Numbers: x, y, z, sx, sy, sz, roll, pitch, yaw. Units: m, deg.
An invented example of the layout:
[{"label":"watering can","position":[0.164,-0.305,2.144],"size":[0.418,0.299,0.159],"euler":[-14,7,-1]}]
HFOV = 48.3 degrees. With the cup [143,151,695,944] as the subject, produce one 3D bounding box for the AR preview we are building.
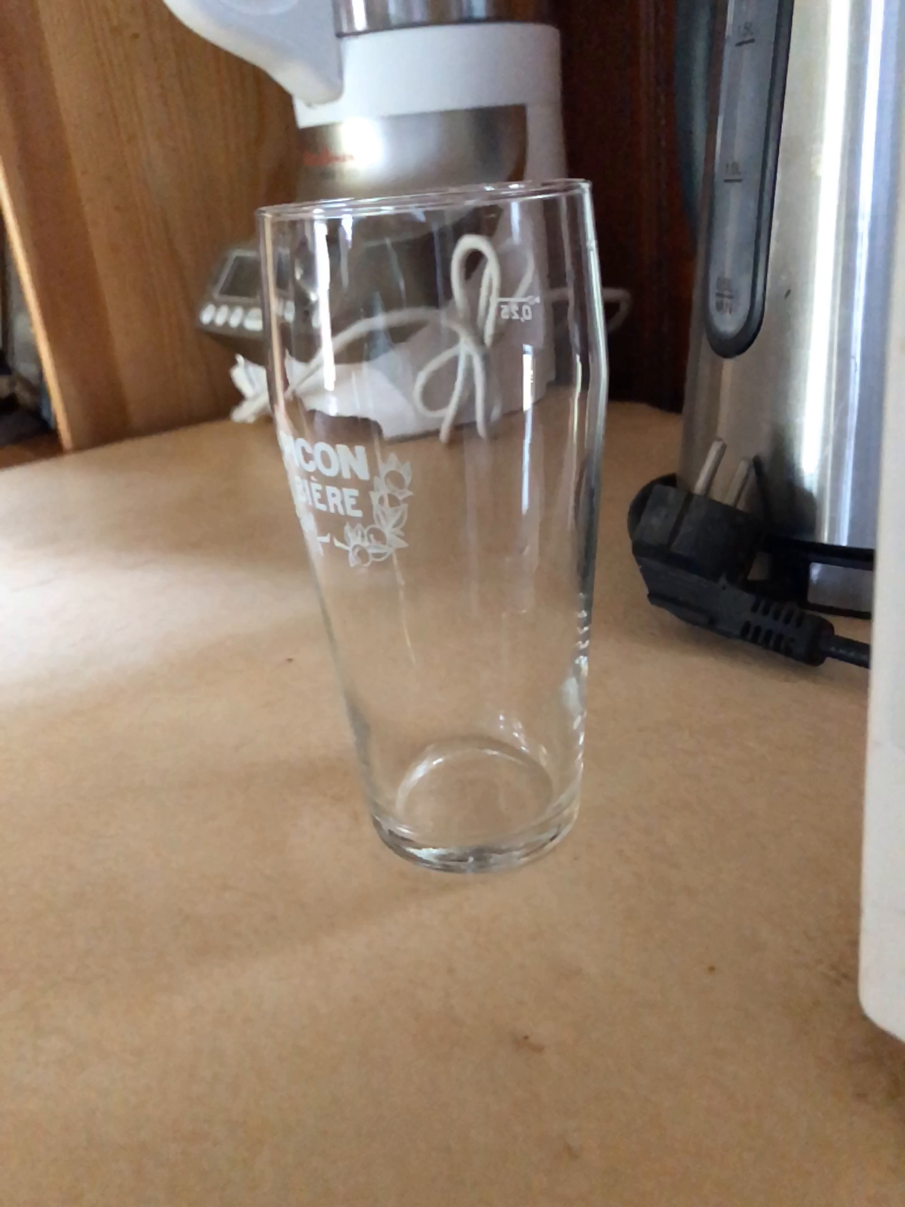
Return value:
[{"label":"cup","position":[0.000,-0.017,0.205],"size":[0.070,0.129,0.070],"euler":[-5,23,2]}]
